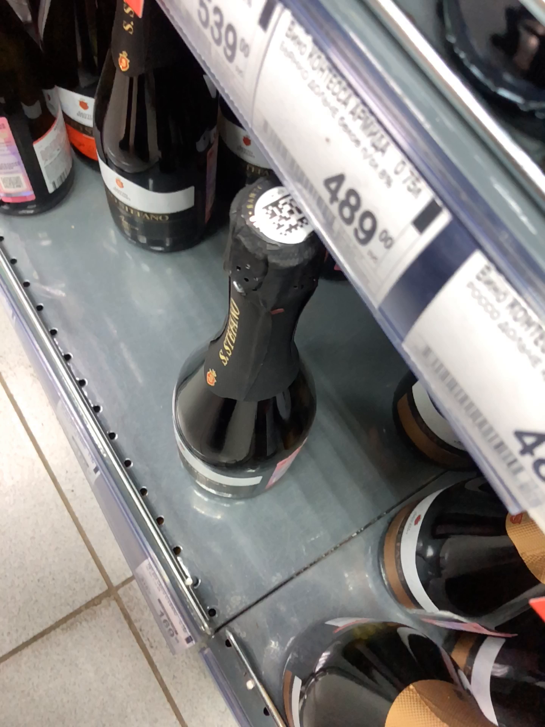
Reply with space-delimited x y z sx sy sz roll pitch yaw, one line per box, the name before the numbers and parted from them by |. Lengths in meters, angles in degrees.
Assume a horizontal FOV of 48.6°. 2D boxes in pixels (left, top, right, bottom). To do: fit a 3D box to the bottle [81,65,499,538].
bottle | -0.012 0.009 0.320 0.090 0.289 0.100 -30 75 -18
